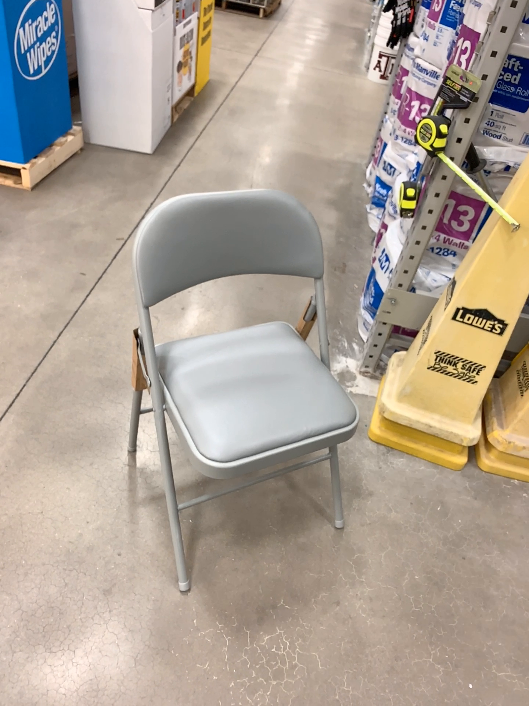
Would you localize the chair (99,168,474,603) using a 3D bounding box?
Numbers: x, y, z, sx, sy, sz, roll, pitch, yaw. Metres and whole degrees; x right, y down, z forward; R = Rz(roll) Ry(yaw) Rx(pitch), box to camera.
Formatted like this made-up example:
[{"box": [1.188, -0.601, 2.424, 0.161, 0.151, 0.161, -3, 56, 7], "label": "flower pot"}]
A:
[{"box": [-0.034, 0.061, 1.166, 0.488, 0.709, 0.486, -12, 46, -25], "label": "chair"}]
